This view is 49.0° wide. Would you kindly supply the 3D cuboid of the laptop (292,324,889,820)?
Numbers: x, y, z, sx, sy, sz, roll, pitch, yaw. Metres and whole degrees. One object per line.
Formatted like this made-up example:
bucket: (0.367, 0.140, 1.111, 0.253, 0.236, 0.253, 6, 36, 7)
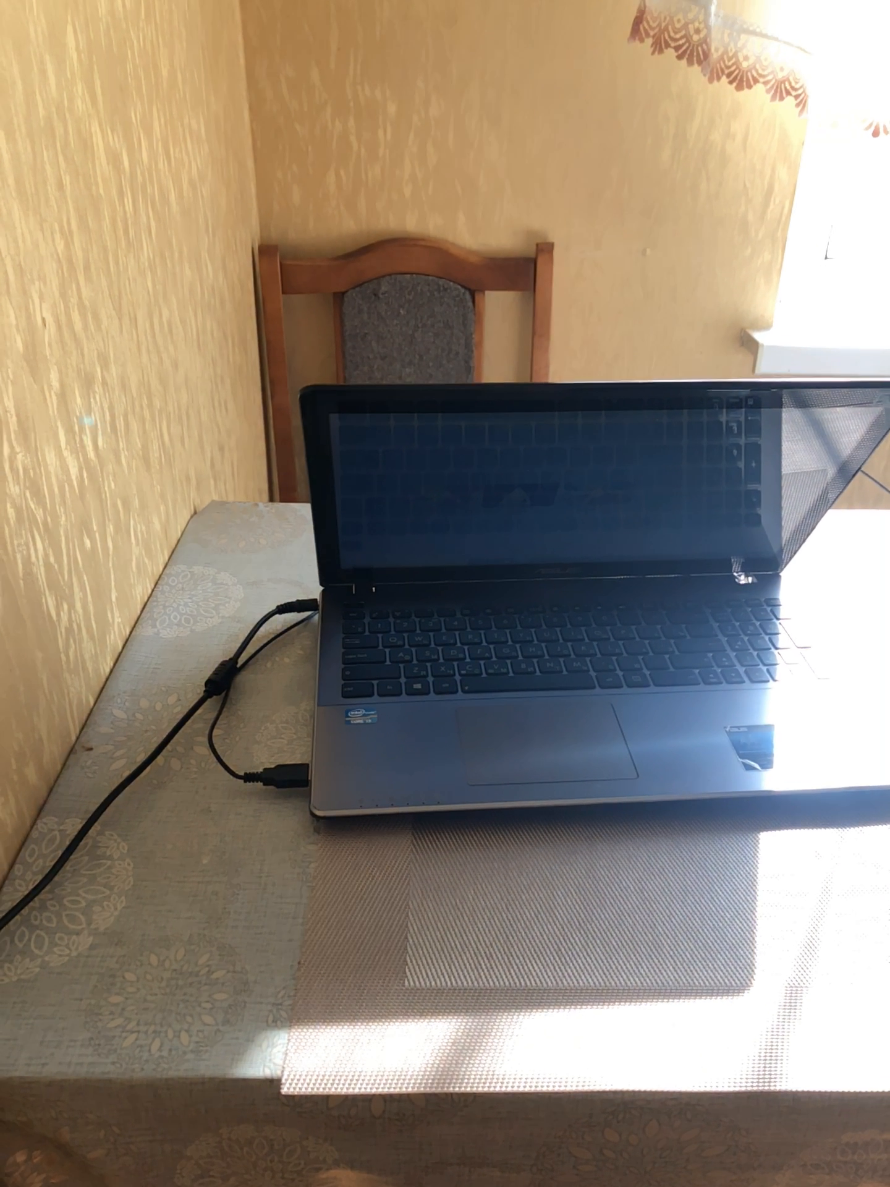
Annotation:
laptop: (0.100, -0.032, 0.616, 0.364, 0.197, 0.241, -2, 31, -6)
